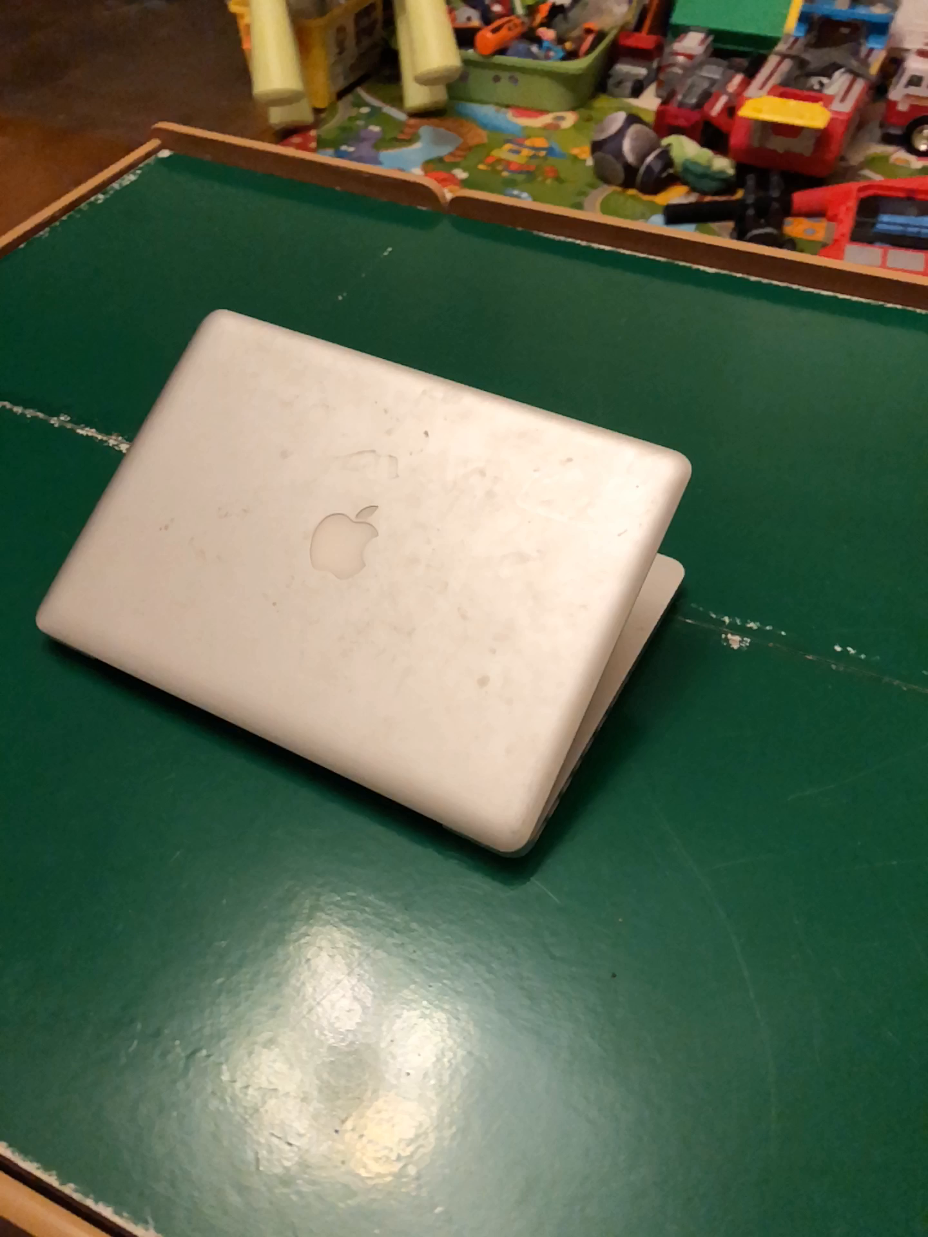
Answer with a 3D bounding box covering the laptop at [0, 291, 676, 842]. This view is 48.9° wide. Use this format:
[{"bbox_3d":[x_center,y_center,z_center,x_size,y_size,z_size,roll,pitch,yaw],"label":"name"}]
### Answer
[{"bbox_3d":[-0.072,-0.051,0.576,0.315,0.098,0.210,22,54,21],"label":"laptop"}]
